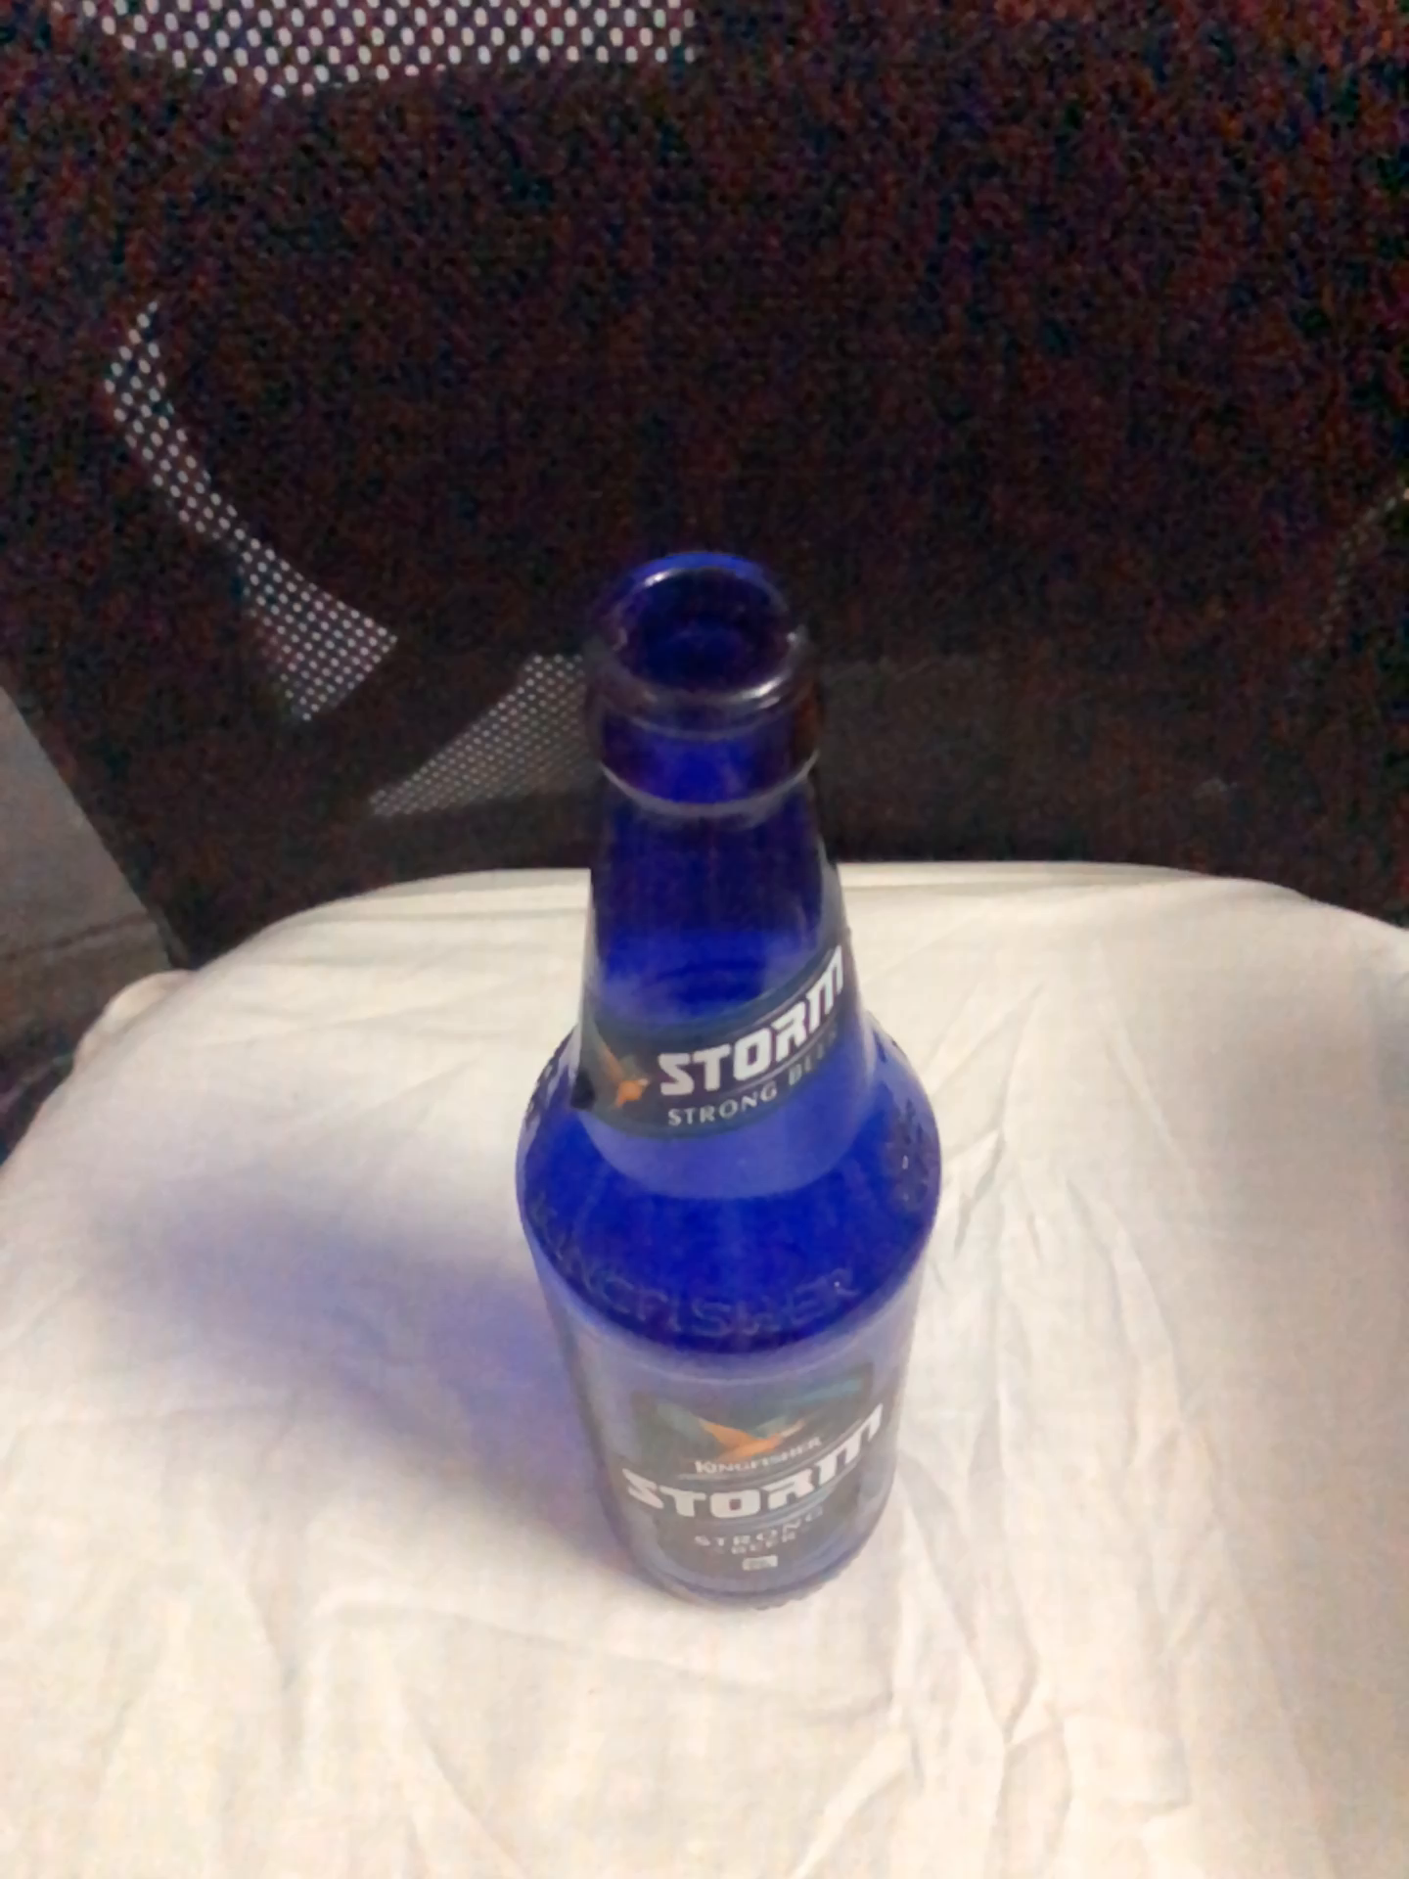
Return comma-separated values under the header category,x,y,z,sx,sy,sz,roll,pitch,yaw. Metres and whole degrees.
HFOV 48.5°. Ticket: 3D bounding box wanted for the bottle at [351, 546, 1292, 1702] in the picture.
category,x,y,z,sx,sy,sz,roll,pitch,yaw
bottle,0.008,0.061,0.258,0.080,0.259,0.070,-3,55,-2
